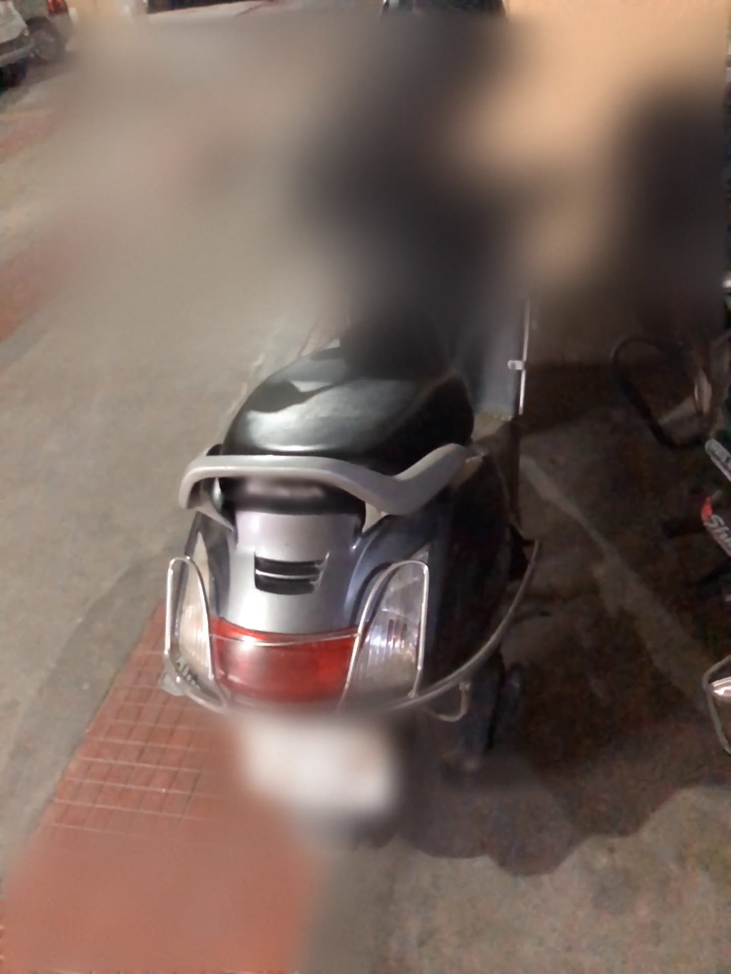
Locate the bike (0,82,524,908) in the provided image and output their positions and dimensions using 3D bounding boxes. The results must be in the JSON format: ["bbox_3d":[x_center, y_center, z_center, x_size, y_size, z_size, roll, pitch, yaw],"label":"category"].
[{"bbox_3d":[-0.038,-0.158,1.668,0.595,0.988,1.501,-3,35,10],"label":"bike"}]
